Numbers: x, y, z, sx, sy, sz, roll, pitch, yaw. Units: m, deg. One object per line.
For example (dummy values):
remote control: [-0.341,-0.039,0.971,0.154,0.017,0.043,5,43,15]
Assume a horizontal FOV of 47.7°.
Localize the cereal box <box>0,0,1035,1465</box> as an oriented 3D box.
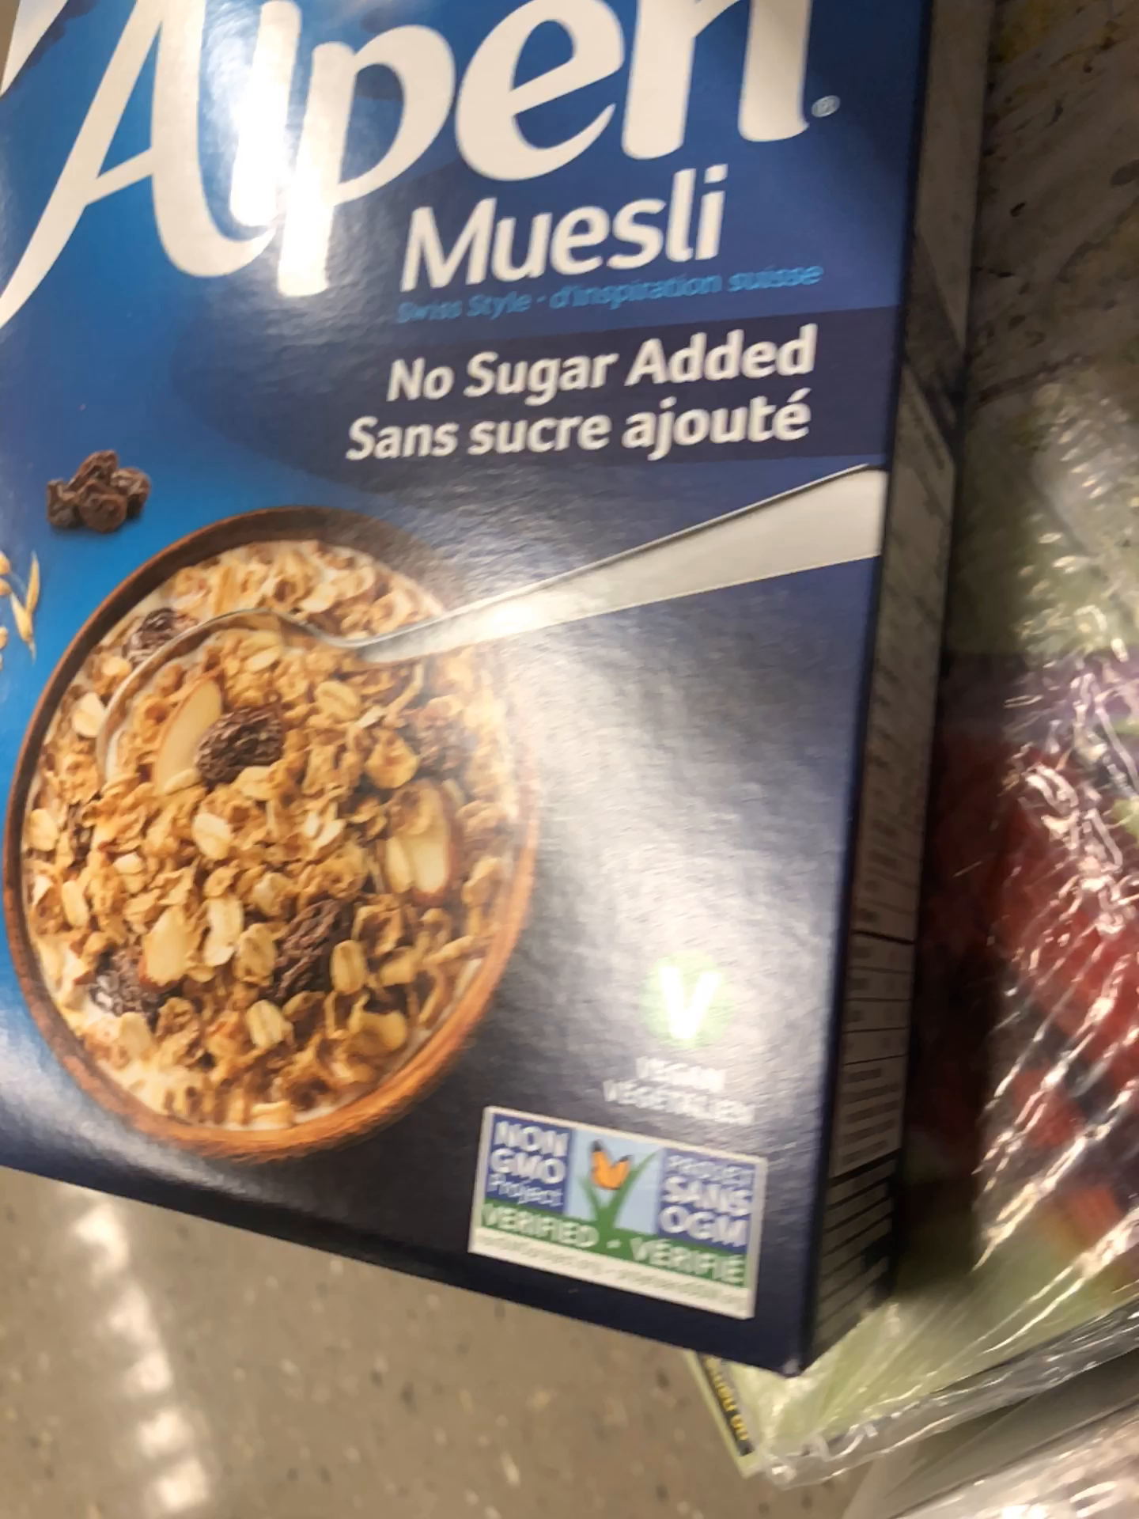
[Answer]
cereal box: [-0.040,-0.052,0.213,0.201,0.050,0.250,3,82,26]
